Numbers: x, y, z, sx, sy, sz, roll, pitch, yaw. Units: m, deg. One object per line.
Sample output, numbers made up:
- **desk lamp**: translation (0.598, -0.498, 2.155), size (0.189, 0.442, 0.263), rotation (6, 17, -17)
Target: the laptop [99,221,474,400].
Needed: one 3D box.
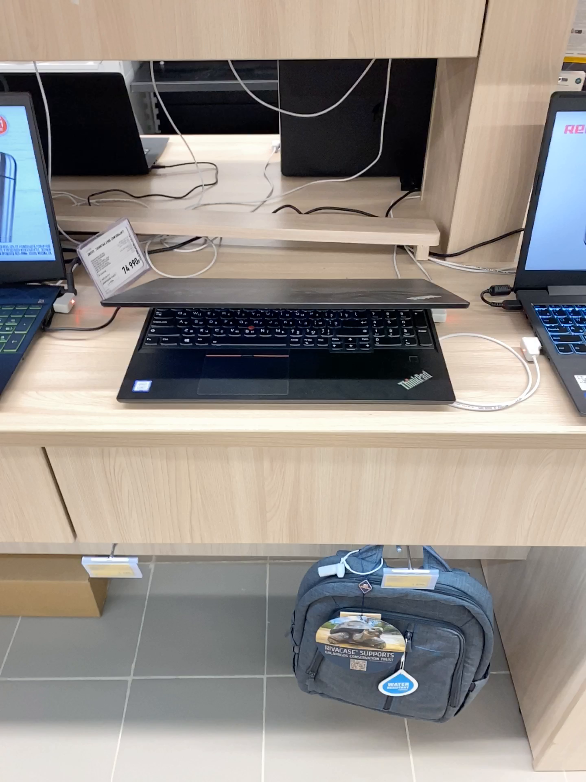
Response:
- **laptop**: translation (-0.005, -0.106, 0.706), size (0.368, 0.093, 0.241), rotation (1, 39, 2)
